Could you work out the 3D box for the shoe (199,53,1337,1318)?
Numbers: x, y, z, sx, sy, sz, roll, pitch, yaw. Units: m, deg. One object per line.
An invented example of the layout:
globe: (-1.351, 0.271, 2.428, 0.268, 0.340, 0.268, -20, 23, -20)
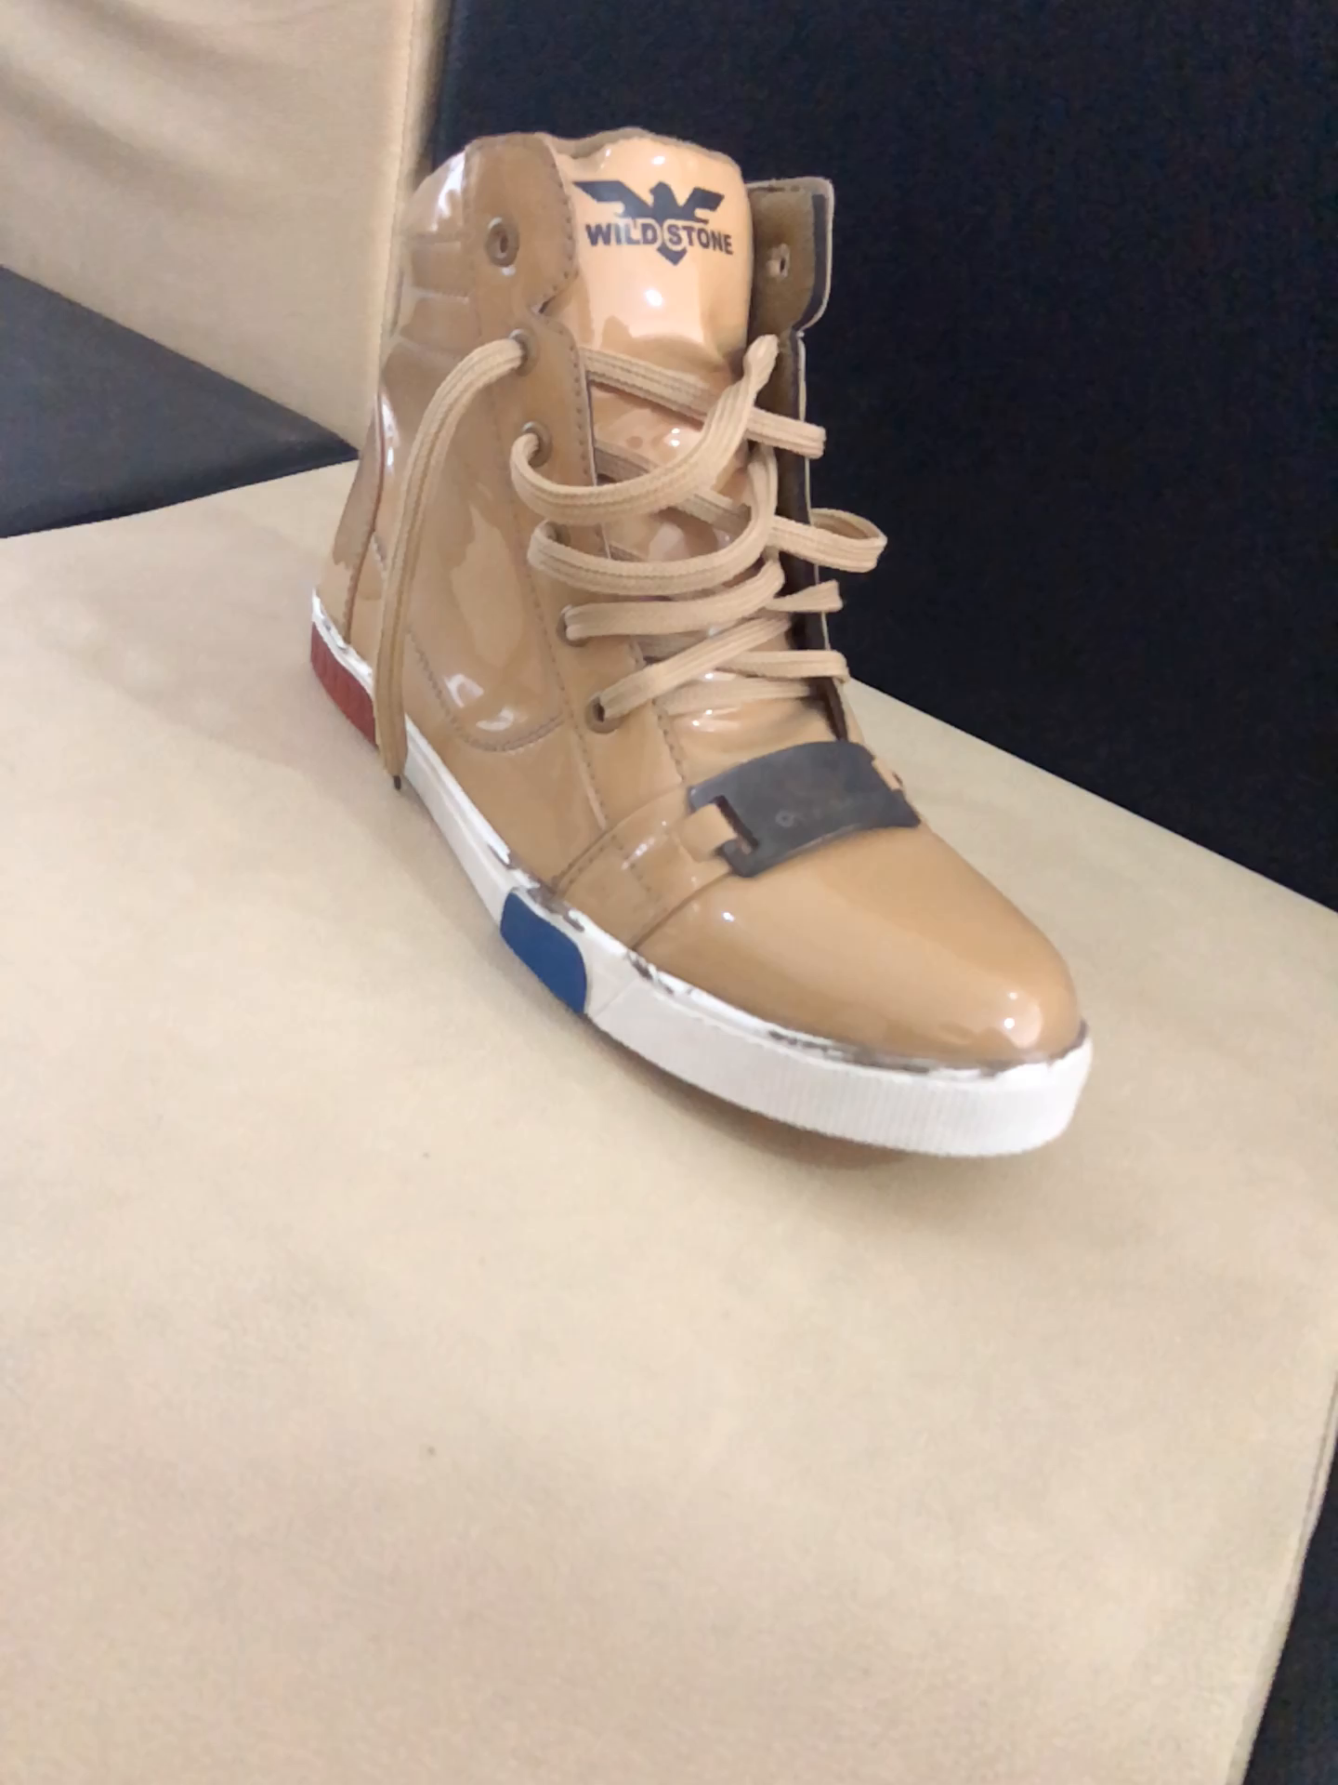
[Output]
shoe: (0.001, -0.071, 0.348, 0.100, 0.159, 0.280, -16, 44, -38)
